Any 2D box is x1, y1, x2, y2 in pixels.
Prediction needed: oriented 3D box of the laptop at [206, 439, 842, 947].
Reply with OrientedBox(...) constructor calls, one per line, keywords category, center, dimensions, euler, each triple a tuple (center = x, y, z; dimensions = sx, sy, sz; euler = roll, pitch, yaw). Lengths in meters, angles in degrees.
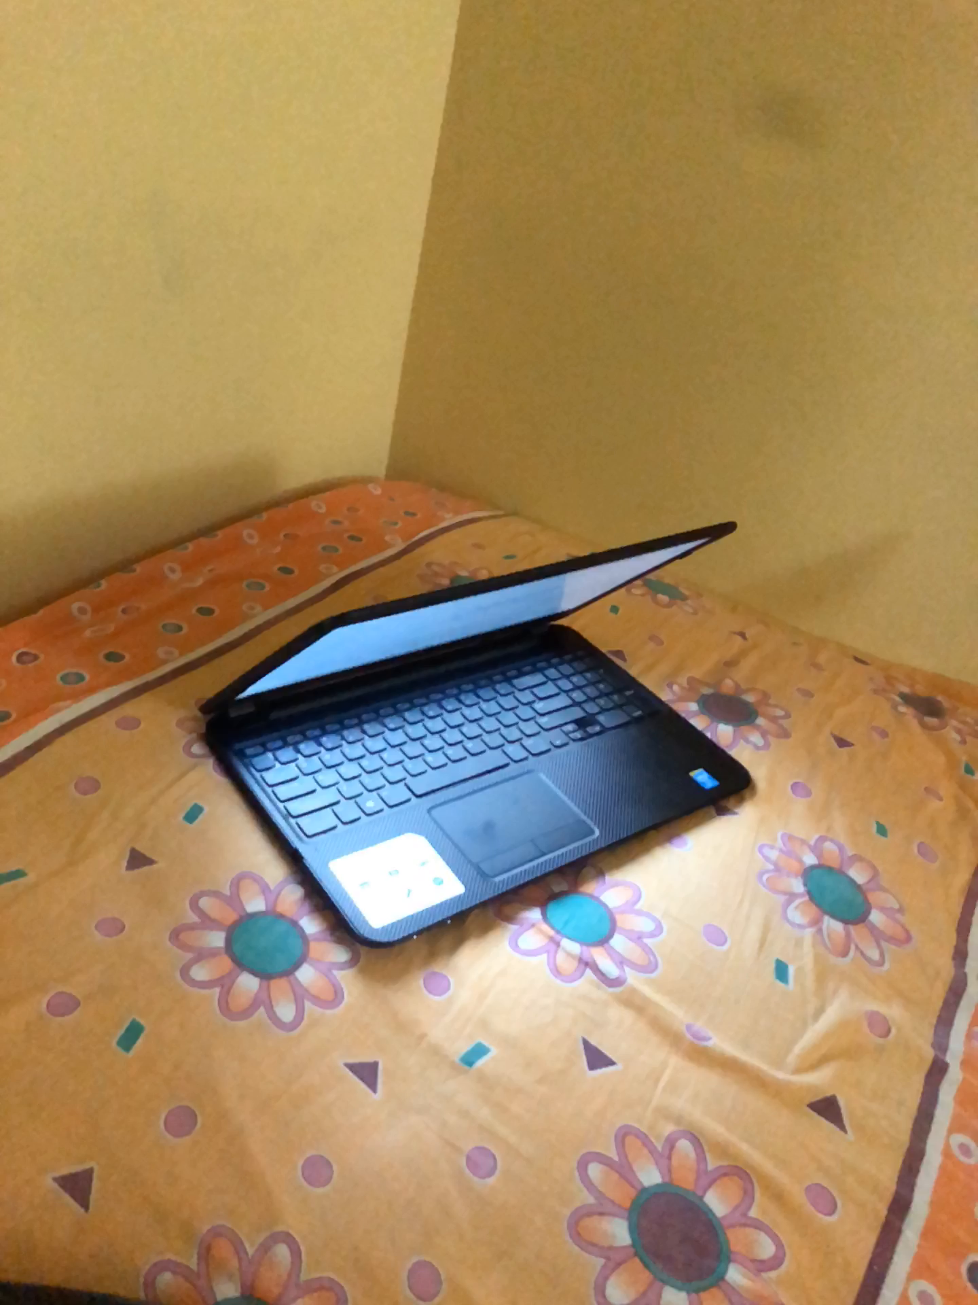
OrientedBox(category="laptop", center=(0.020, 0.001, 0.793), dimensions=(0.367, 0.190, 0.238), euler=(-16, 43, -35))
